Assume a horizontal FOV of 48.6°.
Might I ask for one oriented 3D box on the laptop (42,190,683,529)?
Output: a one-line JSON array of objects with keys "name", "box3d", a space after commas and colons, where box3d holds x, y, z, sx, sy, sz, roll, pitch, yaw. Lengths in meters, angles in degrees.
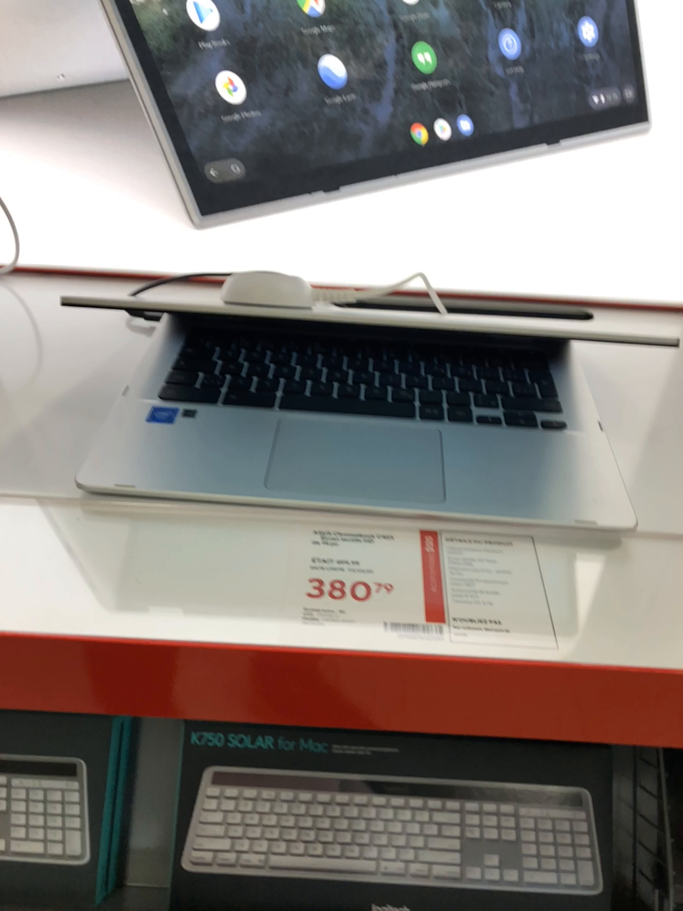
[{"name": "laptop", "box3d": [0.016, -0.076, 0.489, 0.317, 0.100, 0.226, 4, 36, 2]}]
